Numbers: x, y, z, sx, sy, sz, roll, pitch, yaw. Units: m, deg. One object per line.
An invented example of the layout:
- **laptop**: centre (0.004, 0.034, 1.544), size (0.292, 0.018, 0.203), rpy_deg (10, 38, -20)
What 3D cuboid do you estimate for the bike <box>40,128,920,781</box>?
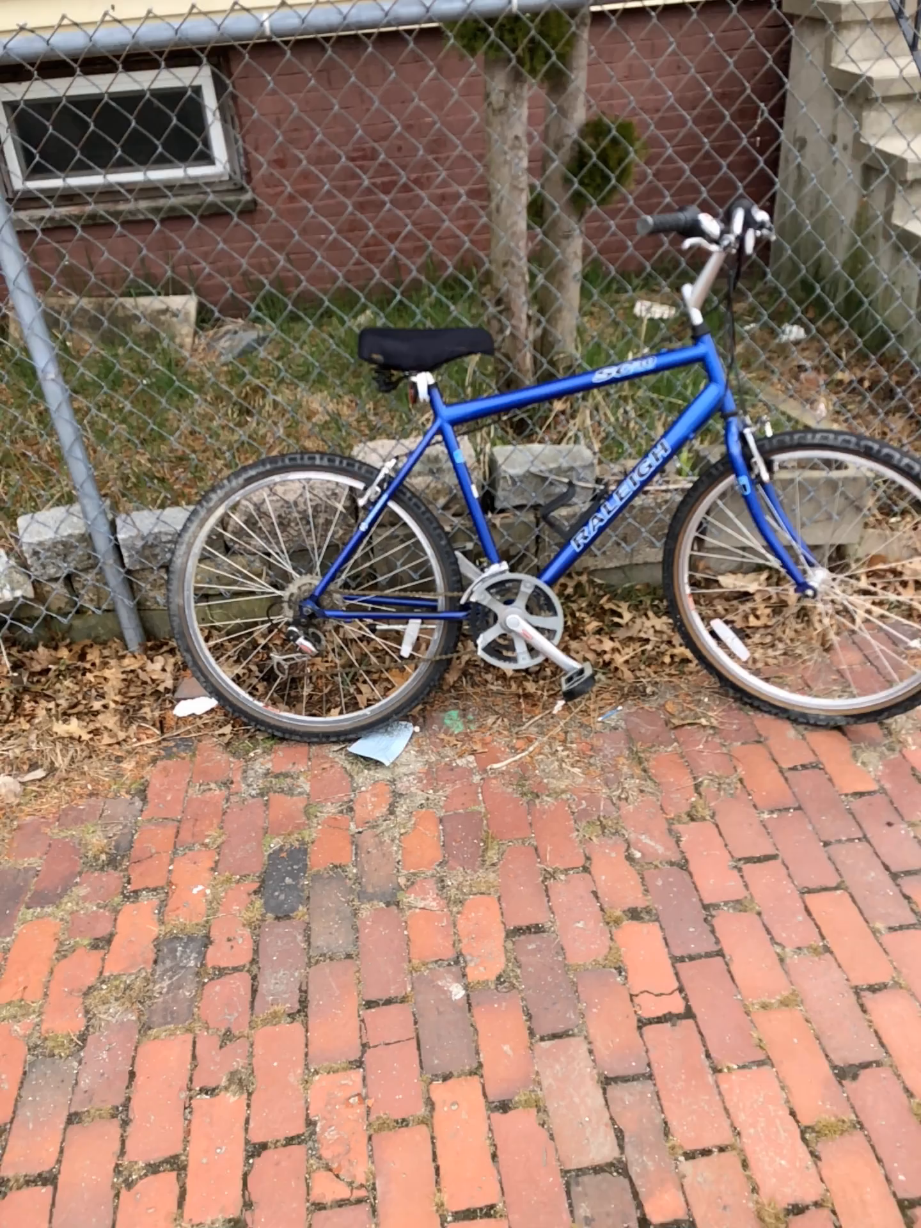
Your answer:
- **bike**: centre (0.191, -0.289, 2.025), size (1.663, 1.024, 0.684), rpy_deg (-2, 30, 10)
